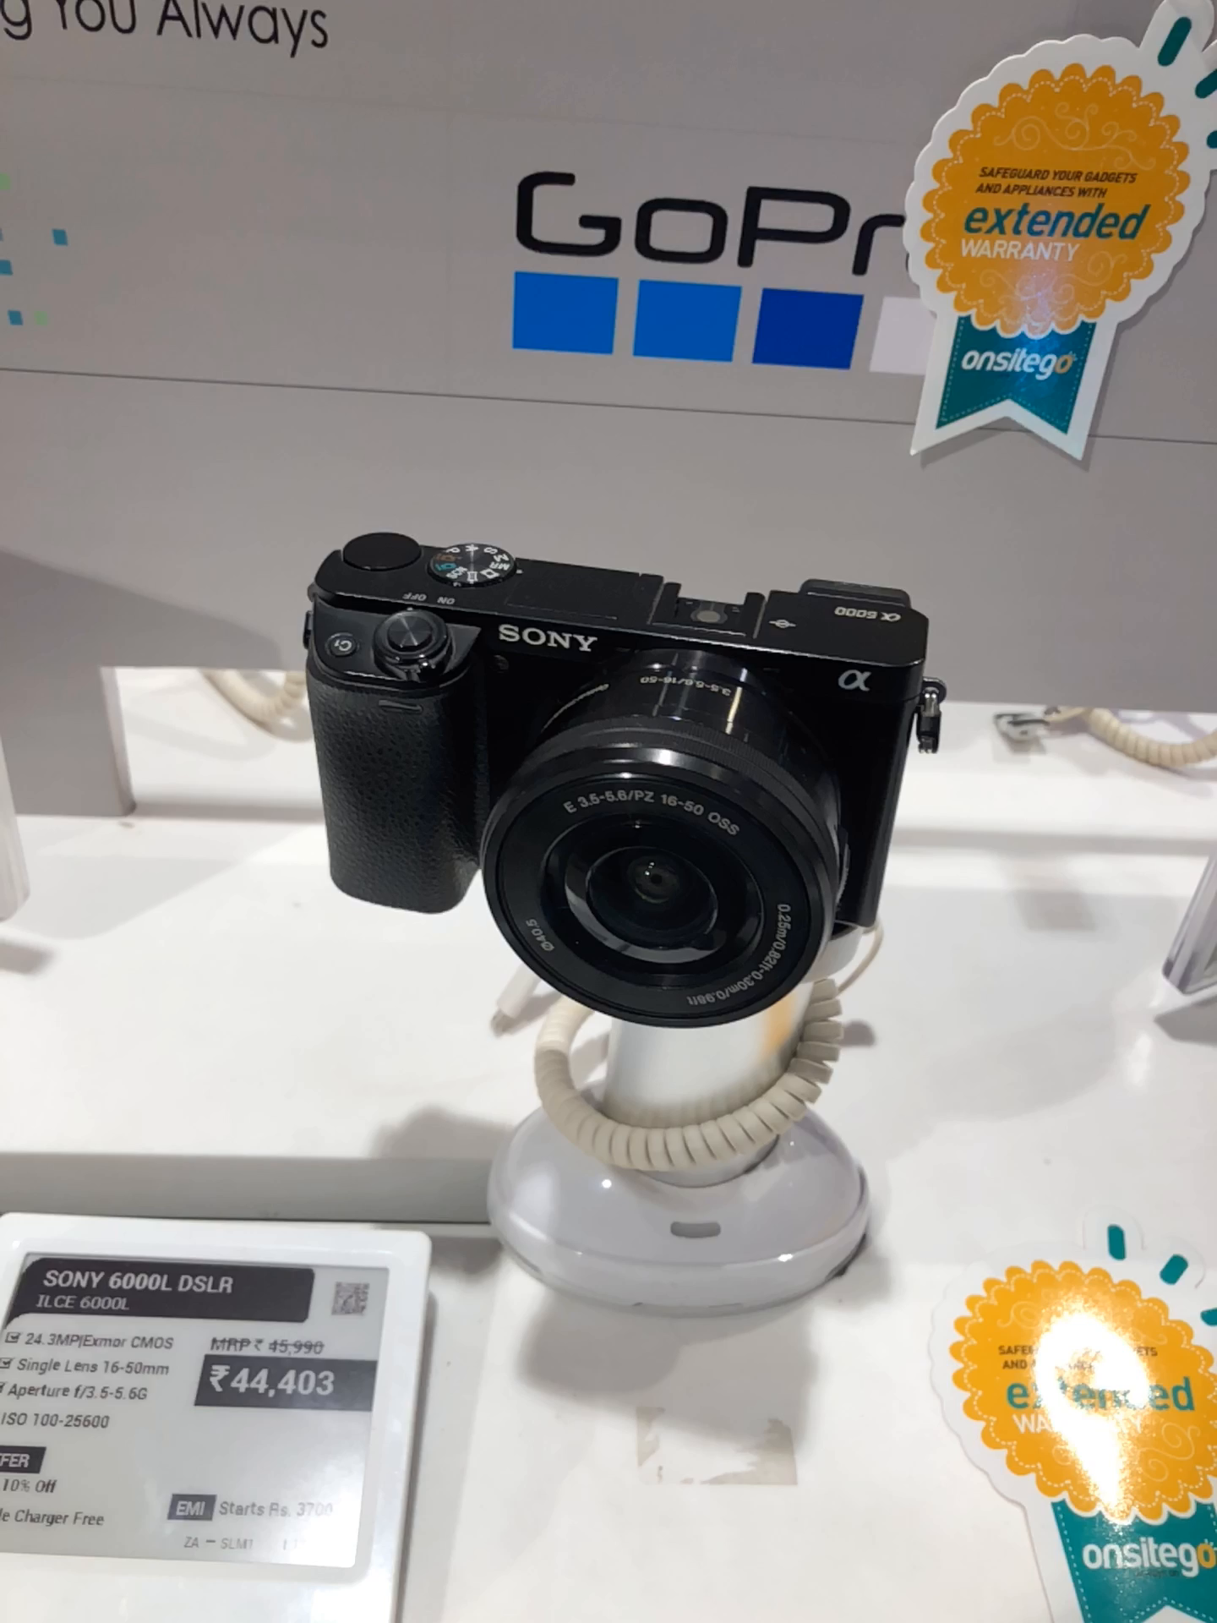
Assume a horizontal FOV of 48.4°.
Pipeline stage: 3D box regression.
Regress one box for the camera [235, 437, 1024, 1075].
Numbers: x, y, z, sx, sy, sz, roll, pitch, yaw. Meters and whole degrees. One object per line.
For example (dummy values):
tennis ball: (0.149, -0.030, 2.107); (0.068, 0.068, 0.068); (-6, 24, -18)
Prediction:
camera: (0.004, -0.011, 0.230); (0.110, 0.070, 0.060); (10, 38, 6)
